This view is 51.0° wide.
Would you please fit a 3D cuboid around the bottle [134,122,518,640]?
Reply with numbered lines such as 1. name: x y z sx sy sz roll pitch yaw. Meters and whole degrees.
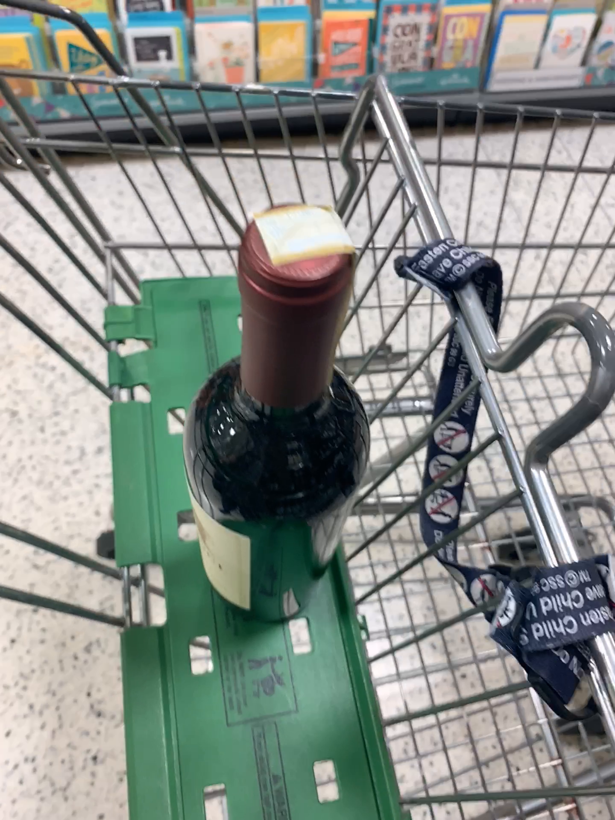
1. bottle: -0.011 0.023 0.278 0.080 0.268 0.081 3 60 -5
